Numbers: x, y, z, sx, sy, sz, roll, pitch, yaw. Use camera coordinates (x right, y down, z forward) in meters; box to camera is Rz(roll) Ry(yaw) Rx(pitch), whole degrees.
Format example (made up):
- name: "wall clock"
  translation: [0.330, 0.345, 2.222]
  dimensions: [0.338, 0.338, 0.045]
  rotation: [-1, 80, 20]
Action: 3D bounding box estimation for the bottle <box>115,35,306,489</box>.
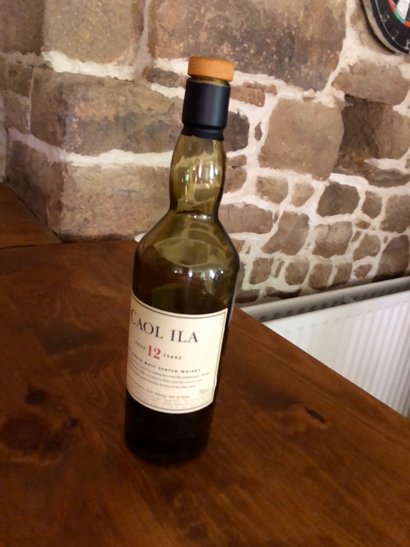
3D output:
- name: "bottle"
  translation: [-0.002, 0.003, 0.328]
  dimensions: [0.080, 0.298, 0.070]
  rotation: [14, 20, 14]
